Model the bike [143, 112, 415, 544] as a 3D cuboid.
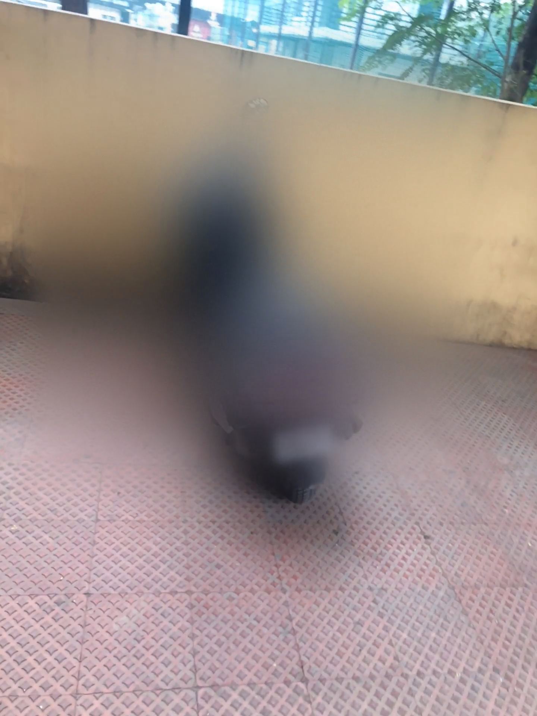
[{"bbox_3d":[-0.135,-0.249,2.438,0.578,1.139,1.489,3,29,-18],"label":"bike"}]
